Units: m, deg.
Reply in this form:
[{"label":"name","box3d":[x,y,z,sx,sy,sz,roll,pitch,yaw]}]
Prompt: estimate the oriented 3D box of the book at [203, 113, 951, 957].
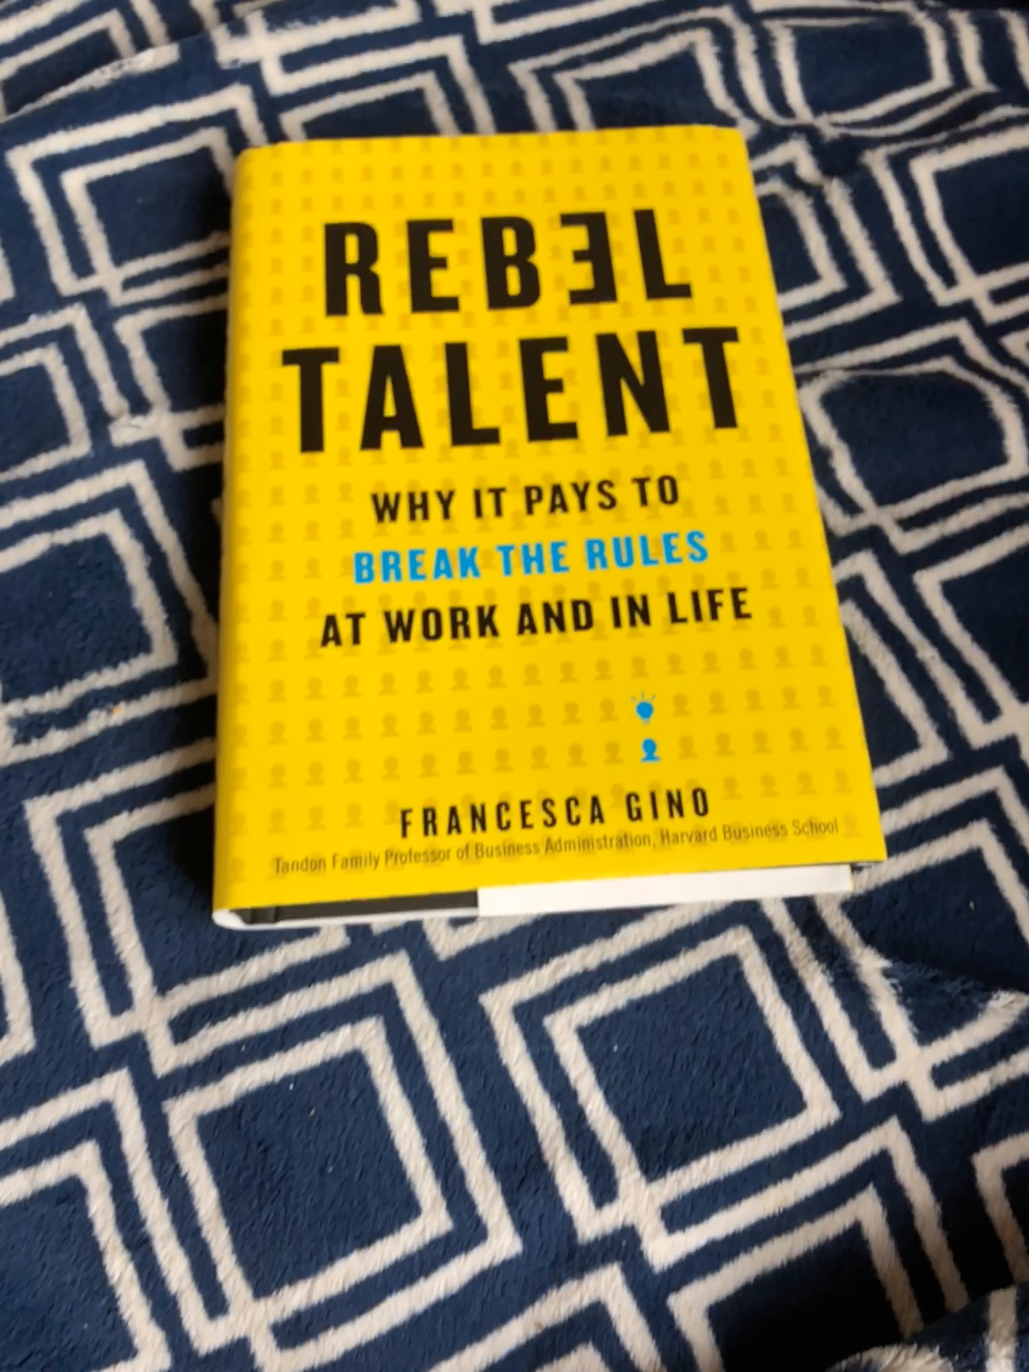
[{"label":"book","box3d":[0.005,-0.055,0.315,0.167,0.032,0.237,-3,67,-4]}]
